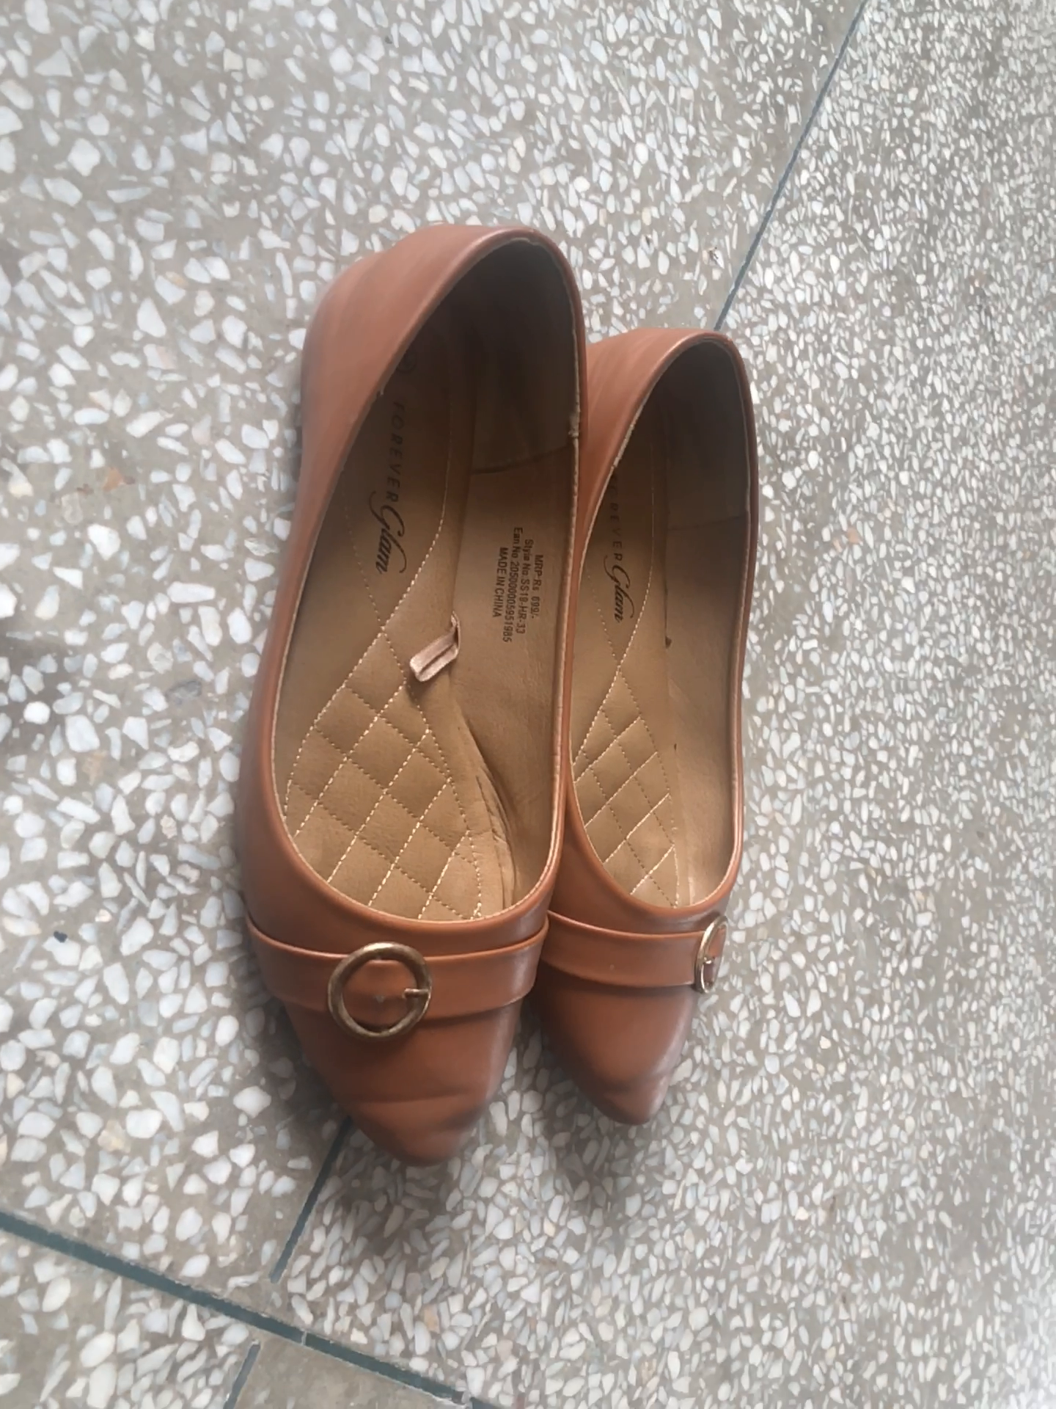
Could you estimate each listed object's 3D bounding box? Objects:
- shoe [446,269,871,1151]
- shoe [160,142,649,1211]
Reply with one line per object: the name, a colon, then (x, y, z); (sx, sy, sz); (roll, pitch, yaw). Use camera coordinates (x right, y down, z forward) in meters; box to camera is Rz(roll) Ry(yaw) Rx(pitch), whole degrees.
shoe: (0.040, 0.005, 0.374); (0.090, 0.050, 0.250); (3, 98, -36)
shoe: (-0.035, -0.002, 0.317); (0.090, 0.050, 0.250); (3, 98, -36)
